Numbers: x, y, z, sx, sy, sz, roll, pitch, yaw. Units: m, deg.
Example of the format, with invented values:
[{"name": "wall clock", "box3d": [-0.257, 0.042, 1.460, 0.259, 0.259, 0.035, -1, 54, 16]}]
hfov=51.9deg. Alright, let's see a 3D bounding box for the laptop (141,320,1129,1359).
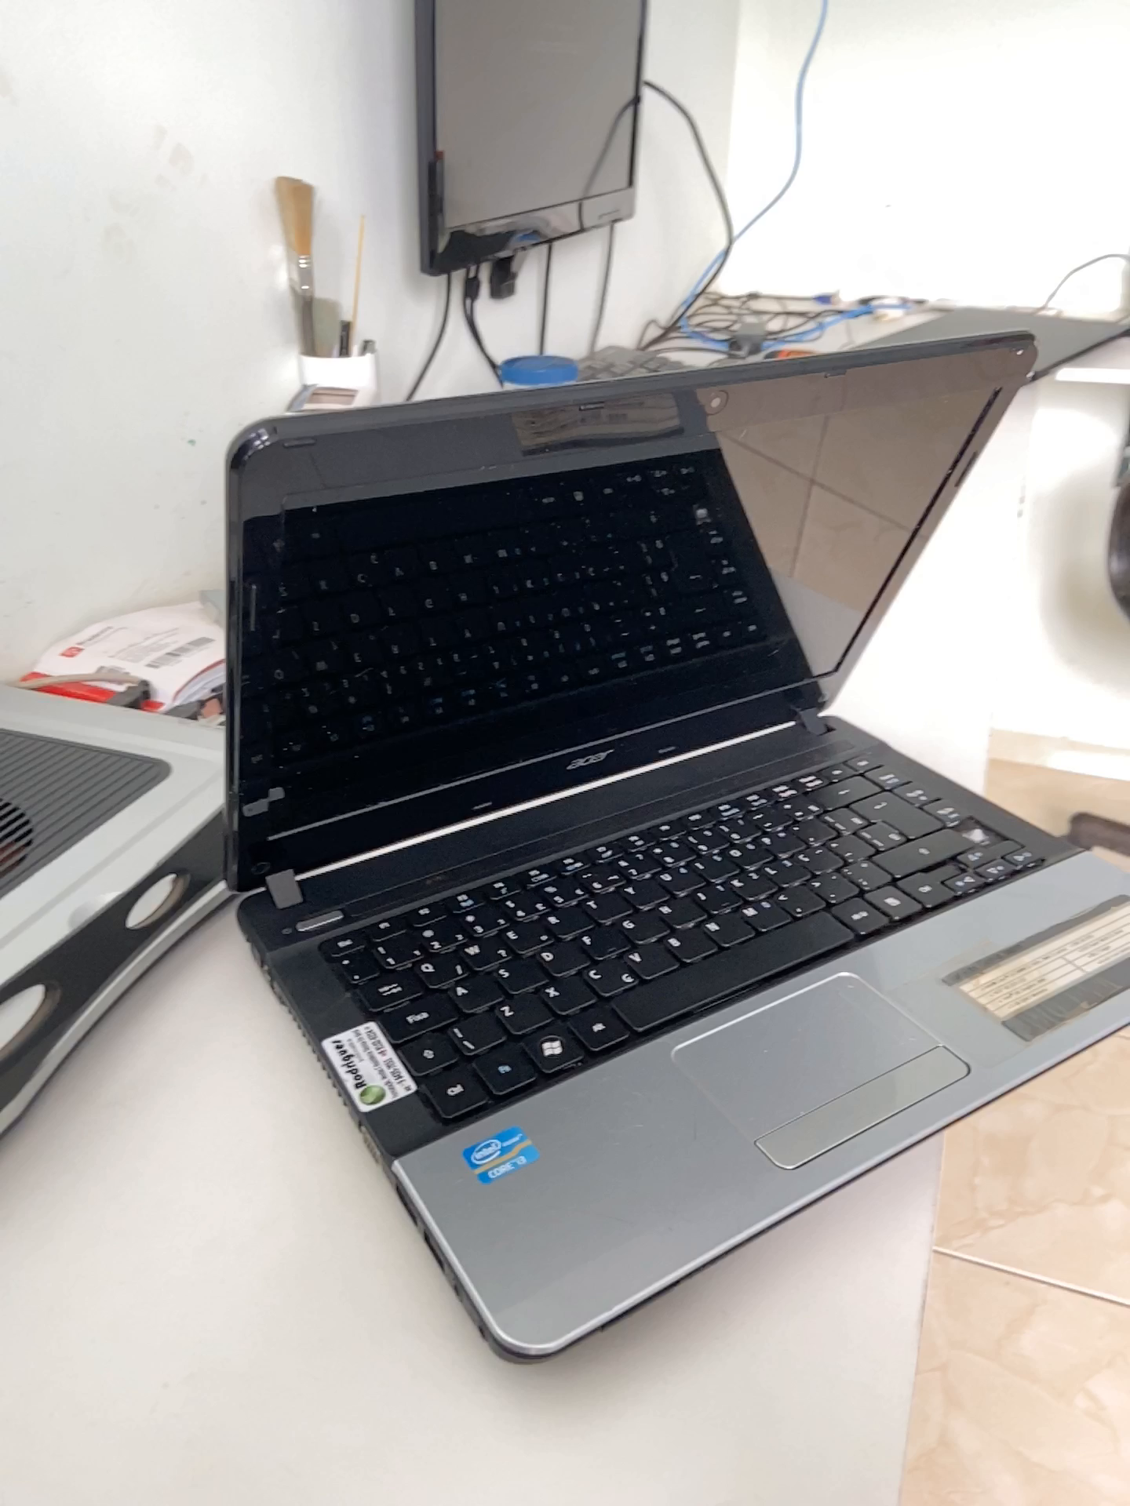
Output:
[{"name": "laptop", "box3d": [0.061, -0.021, 0.423, 0.327, 0.211, 0.239, -16, 32, -28]}]
